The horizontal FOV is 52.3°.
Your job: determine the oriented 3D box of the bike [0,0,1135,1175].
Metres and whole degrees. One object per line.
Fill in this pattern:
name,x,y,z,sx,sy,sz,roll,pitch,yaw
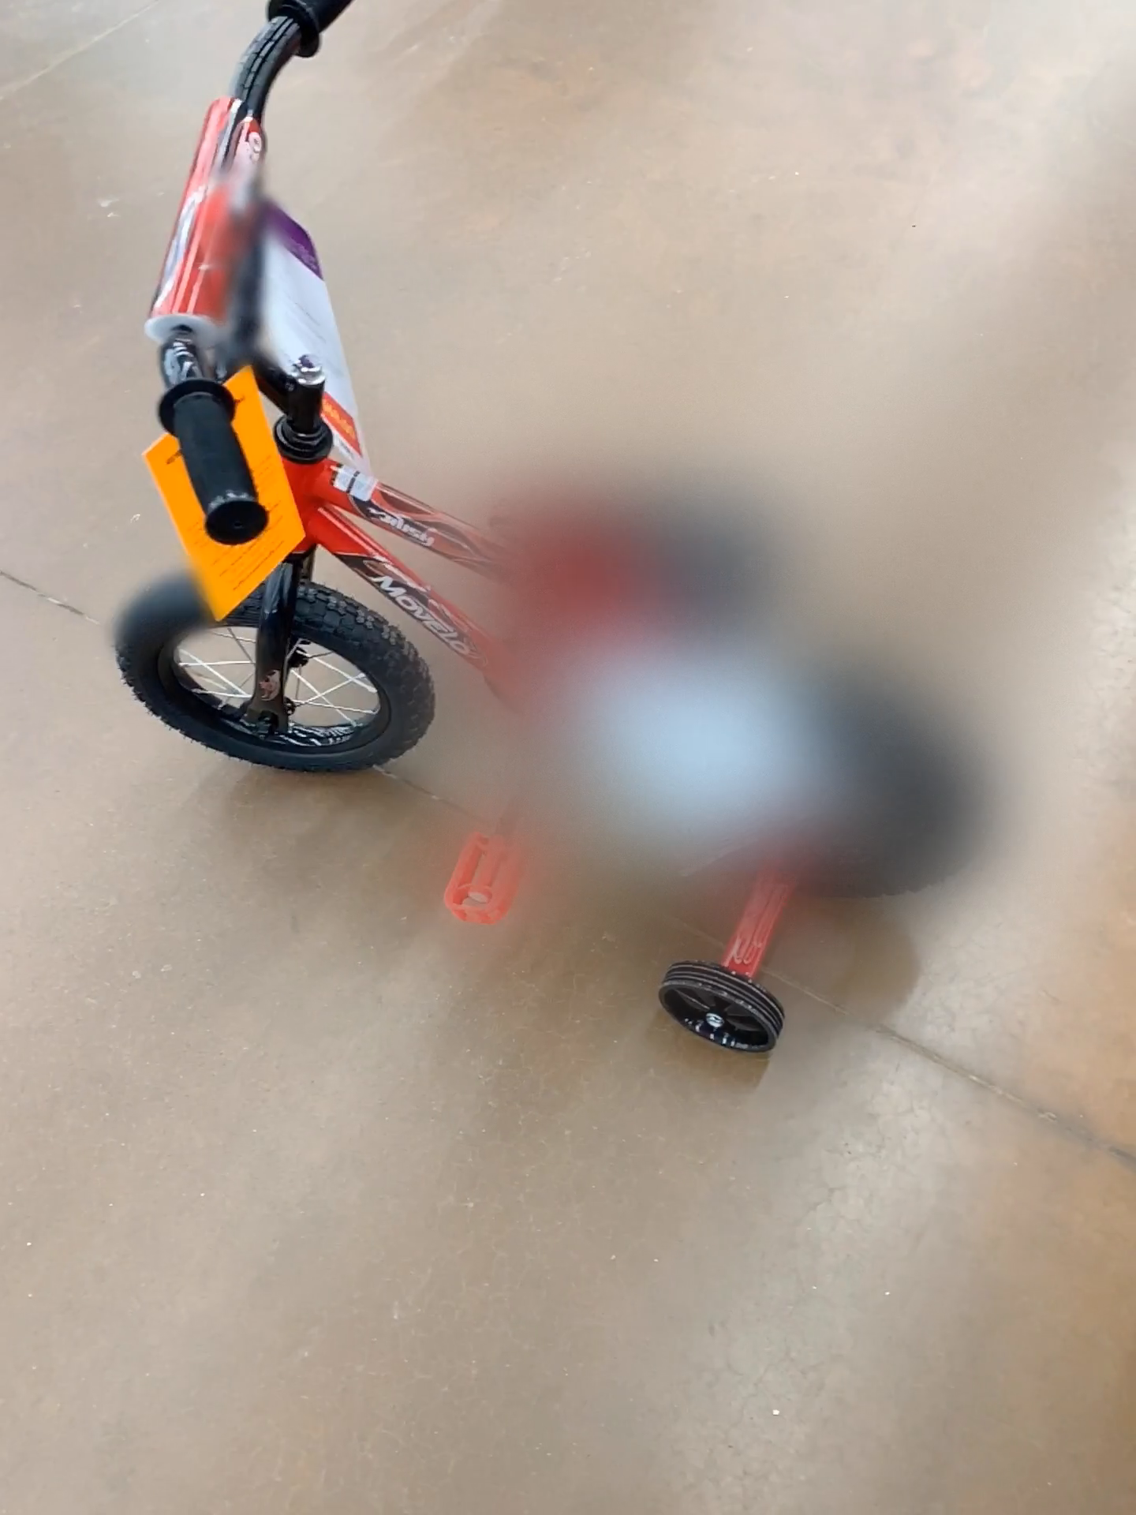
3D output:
bike,-0.058,-0.132,0.767,0.736,0.605,0.440,13,57,11
